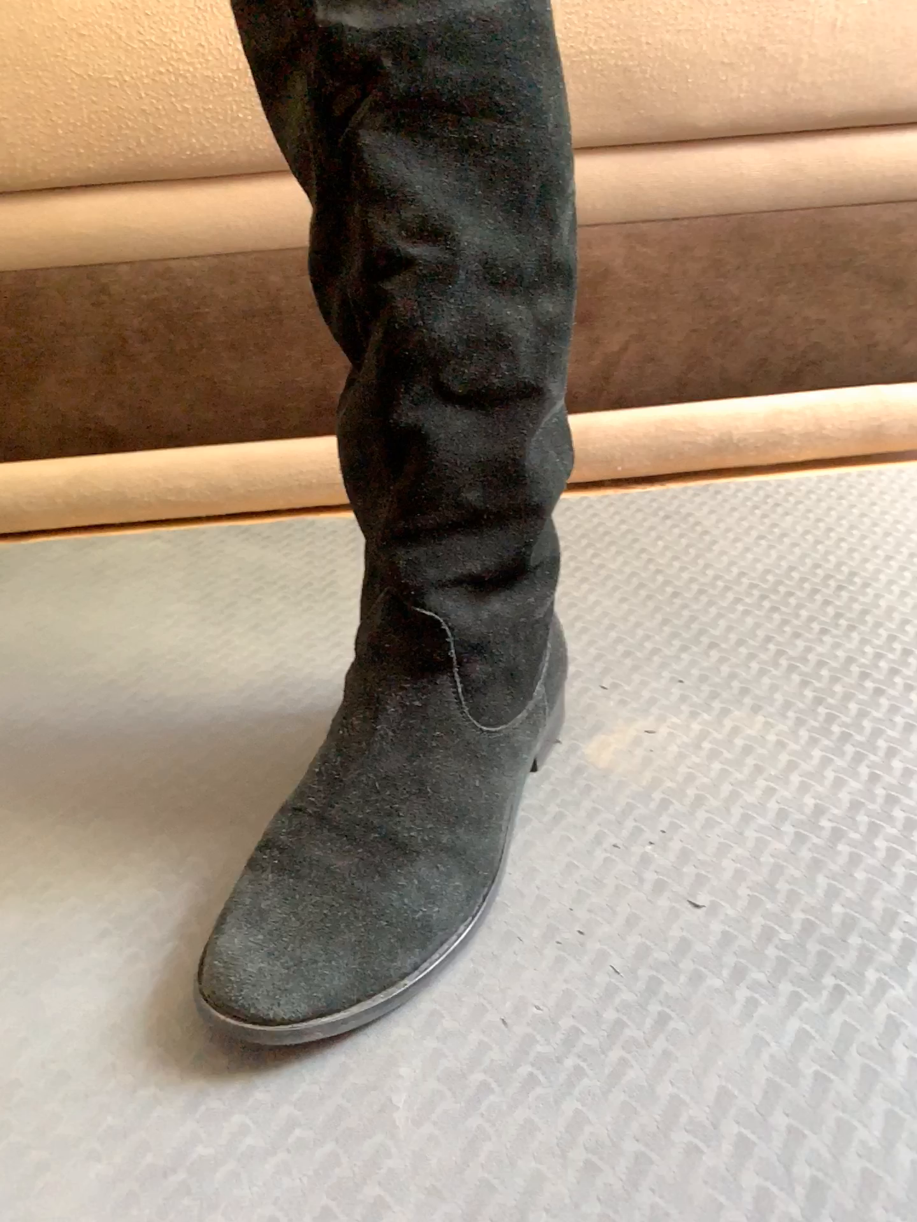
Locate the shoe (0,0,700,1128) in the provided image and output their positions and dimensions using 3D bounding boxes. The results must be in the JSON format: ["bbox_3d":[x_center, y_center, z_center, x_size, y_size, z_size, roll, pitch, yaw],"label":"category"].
[{"bbox_3d":[-0.020,-0.096,0.350,0.130,0.378,0.321,8,28,25],"label":"shoe"}]
